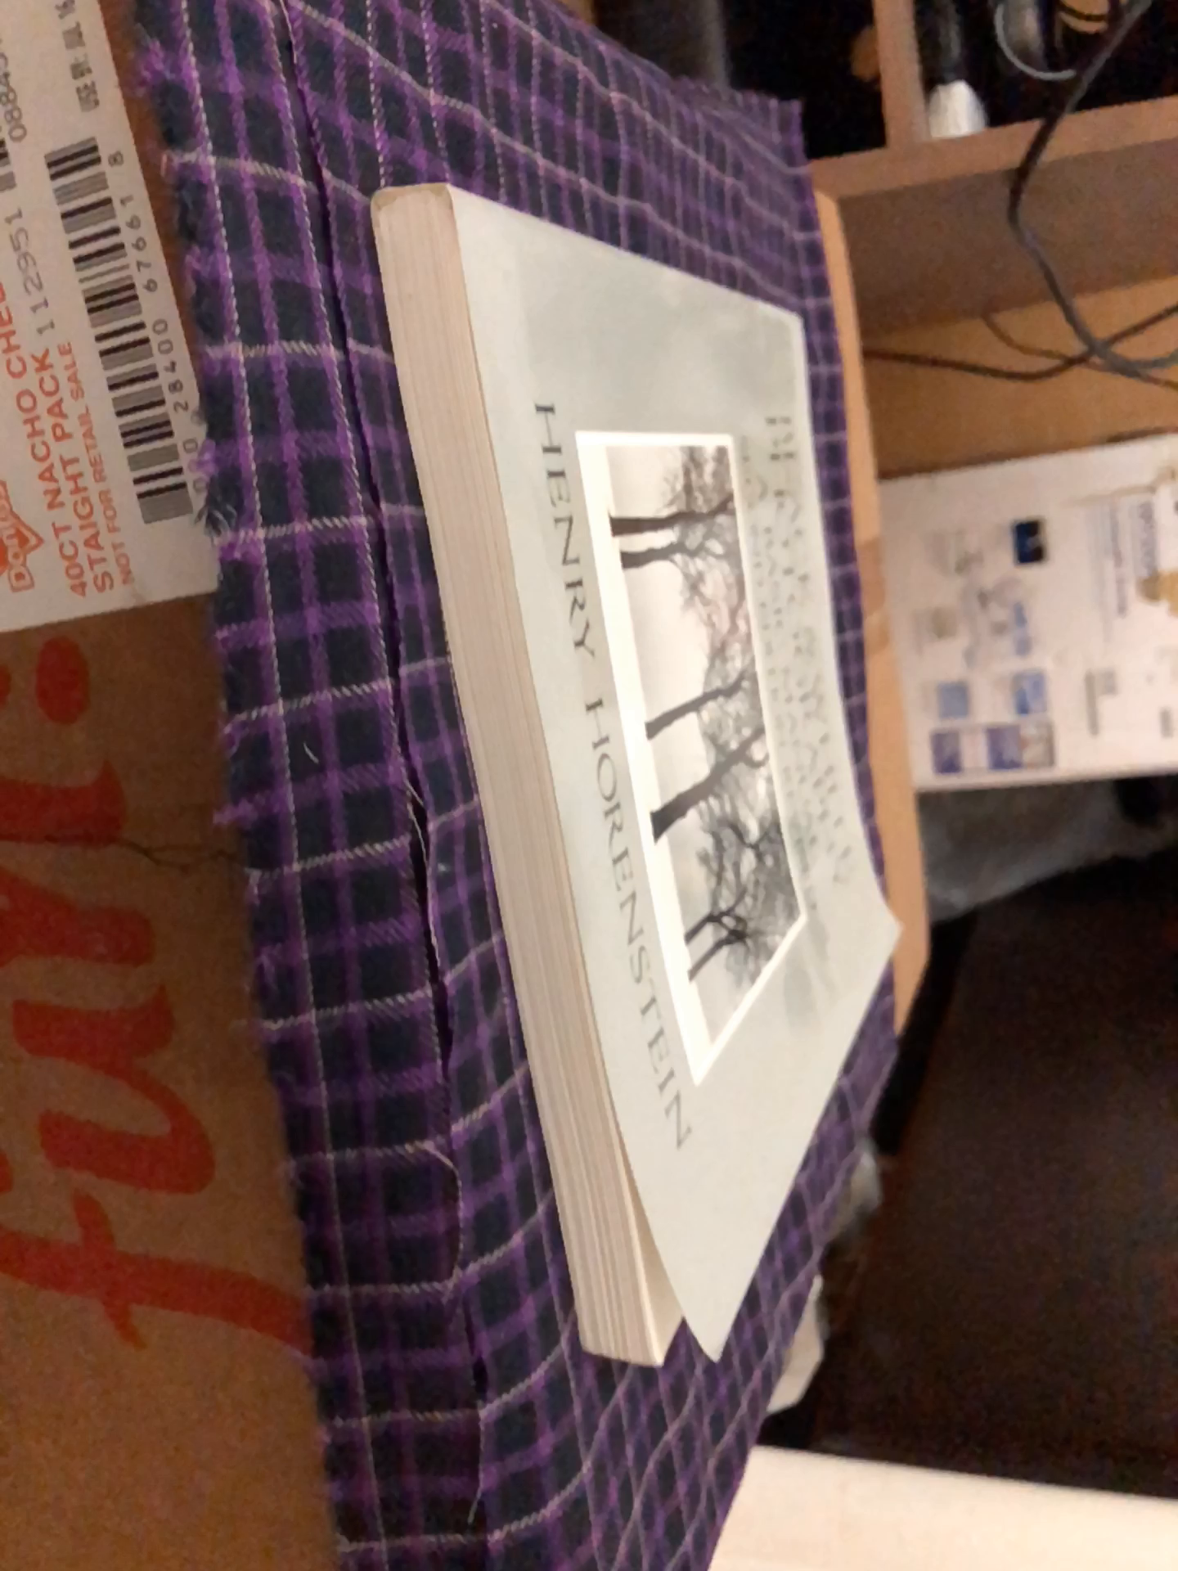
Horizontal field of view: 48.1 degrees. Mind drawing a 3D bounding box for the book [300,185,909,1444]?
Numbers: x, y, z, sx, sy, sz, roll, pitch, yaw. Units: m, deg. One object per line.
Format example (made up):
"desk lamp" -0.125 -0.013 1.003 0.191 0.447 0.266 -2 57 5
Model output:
"book" 0.033 -0.014 0.331 0.251 0.030 0.210 -32 115 -64
